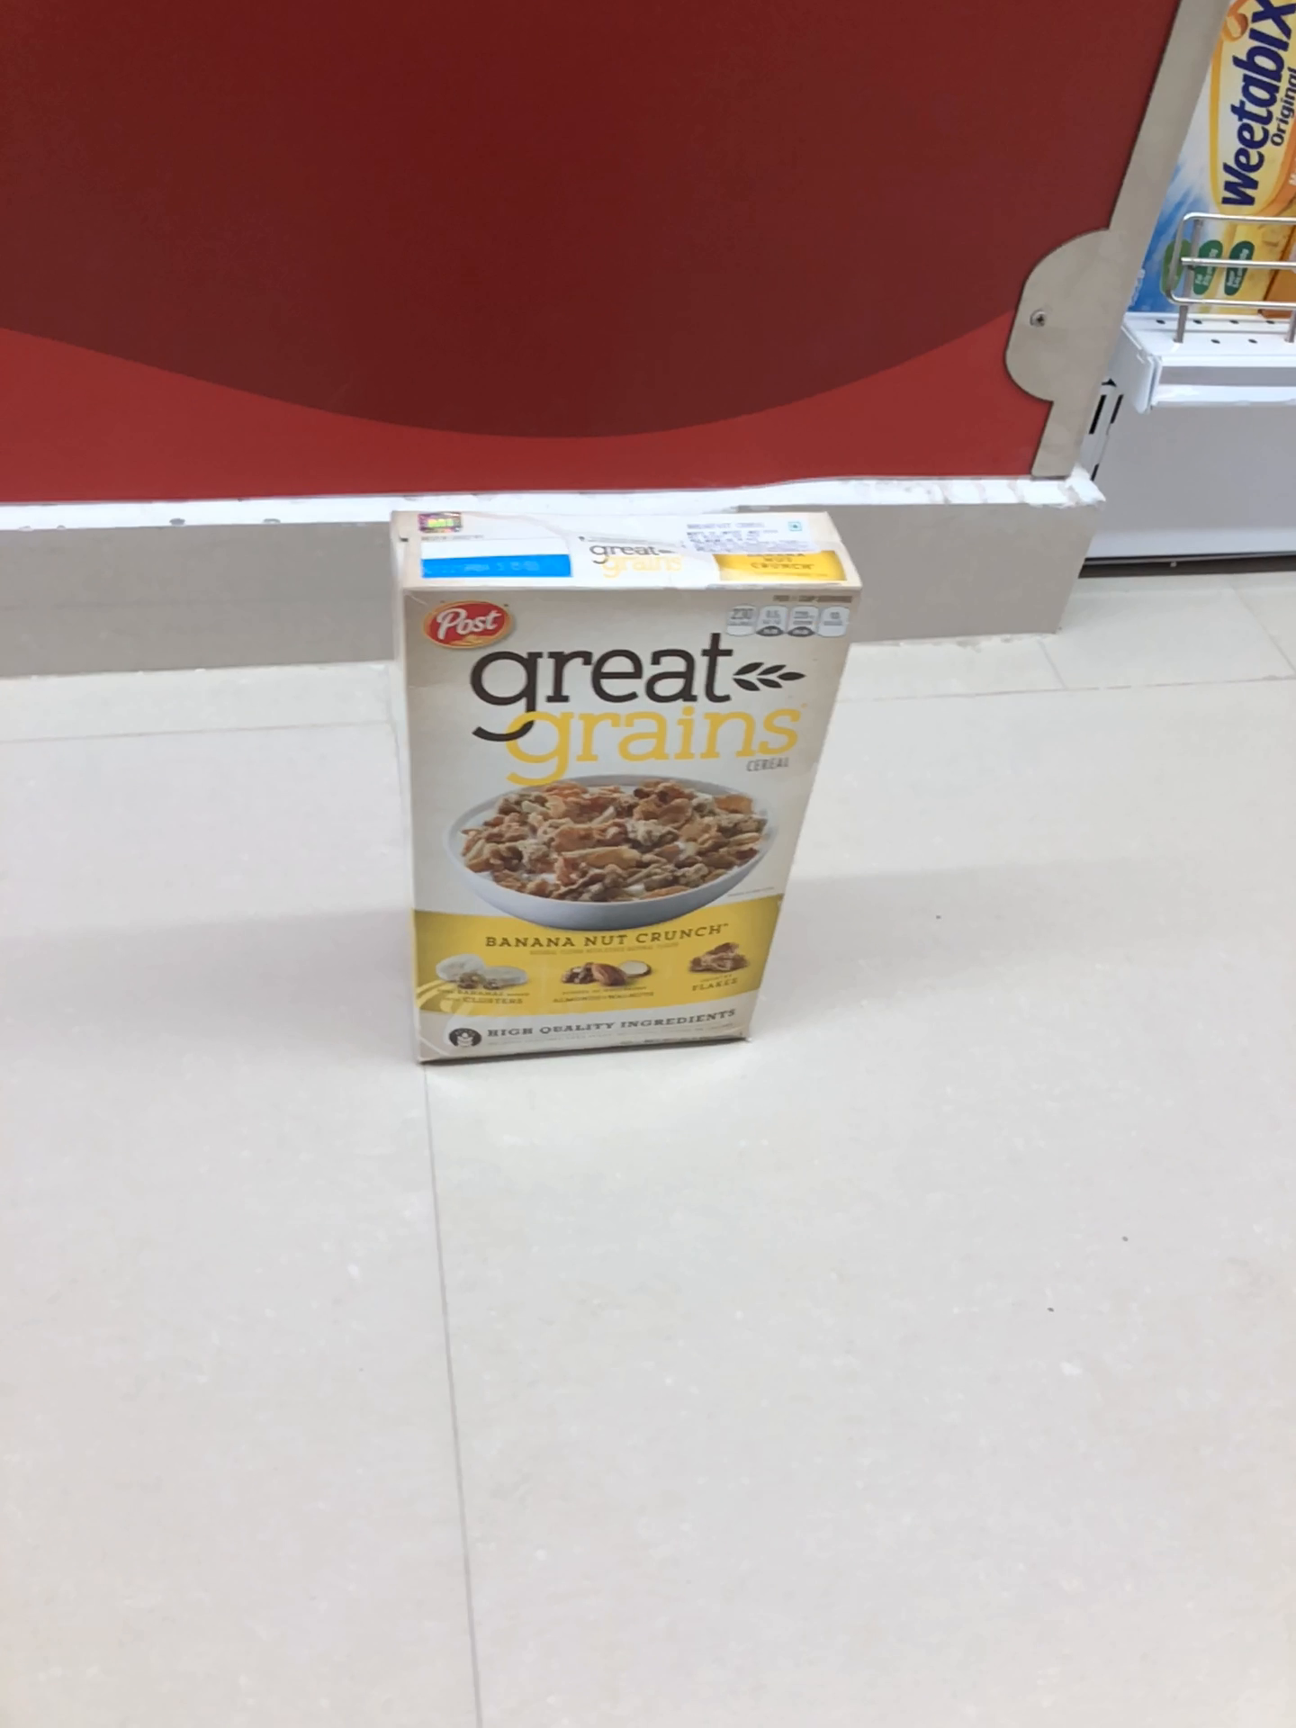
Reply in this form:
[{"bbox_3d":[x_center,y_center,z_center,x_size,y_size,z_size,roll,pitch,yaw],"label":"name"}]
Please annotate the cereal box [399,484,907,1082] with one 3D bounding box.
[{"bbox_3d":[-0.013,-0.020,0.563,0.160,0.258,0.060,-3,47,-12],"label":"cereal box"}]
